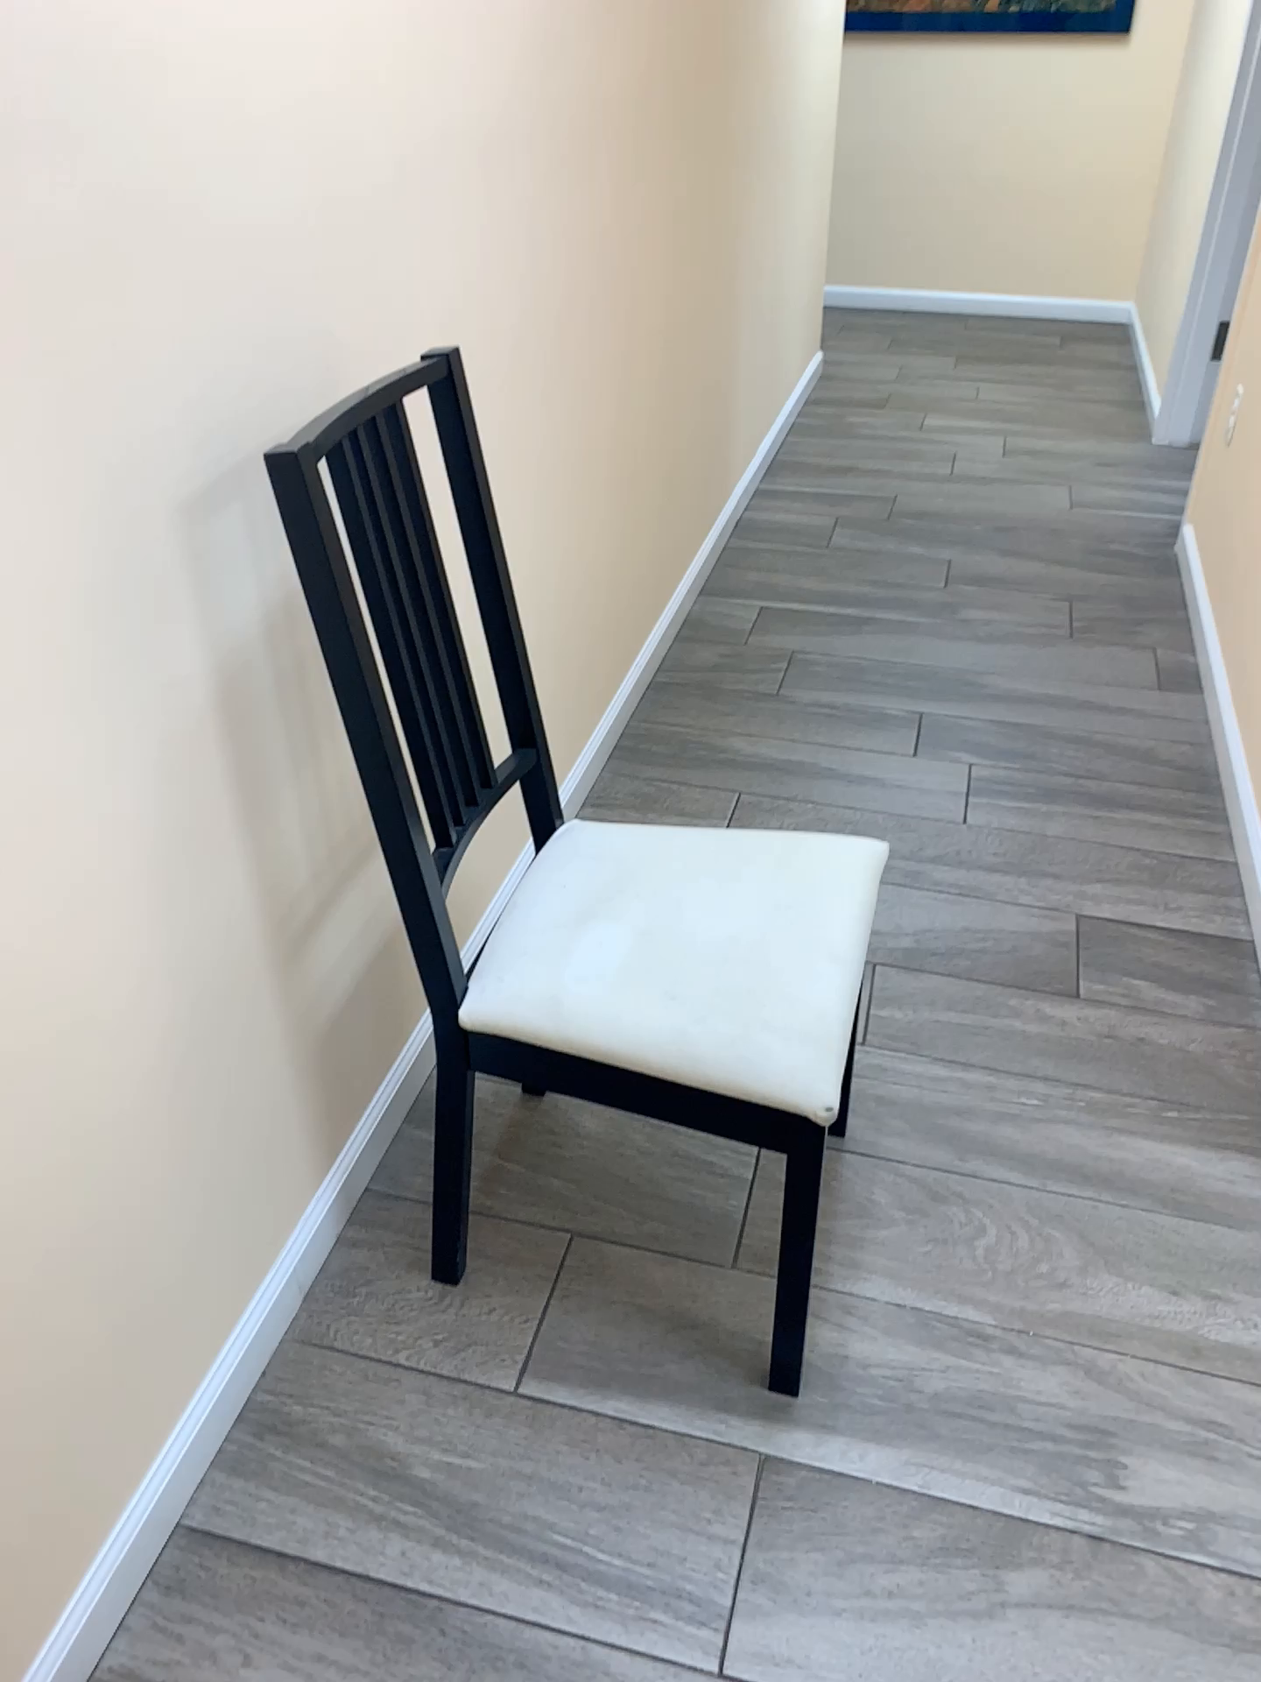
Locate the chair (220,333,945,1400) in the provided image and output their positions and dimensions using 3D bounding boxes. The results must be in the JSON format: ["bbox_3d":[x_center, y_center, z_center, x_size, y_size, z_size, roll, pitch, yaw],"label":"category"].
[{"bbox_3d":[-0.003,0.041,1.328,0.497,0.962,0.441,8,35,12],"label":"chair"}]
